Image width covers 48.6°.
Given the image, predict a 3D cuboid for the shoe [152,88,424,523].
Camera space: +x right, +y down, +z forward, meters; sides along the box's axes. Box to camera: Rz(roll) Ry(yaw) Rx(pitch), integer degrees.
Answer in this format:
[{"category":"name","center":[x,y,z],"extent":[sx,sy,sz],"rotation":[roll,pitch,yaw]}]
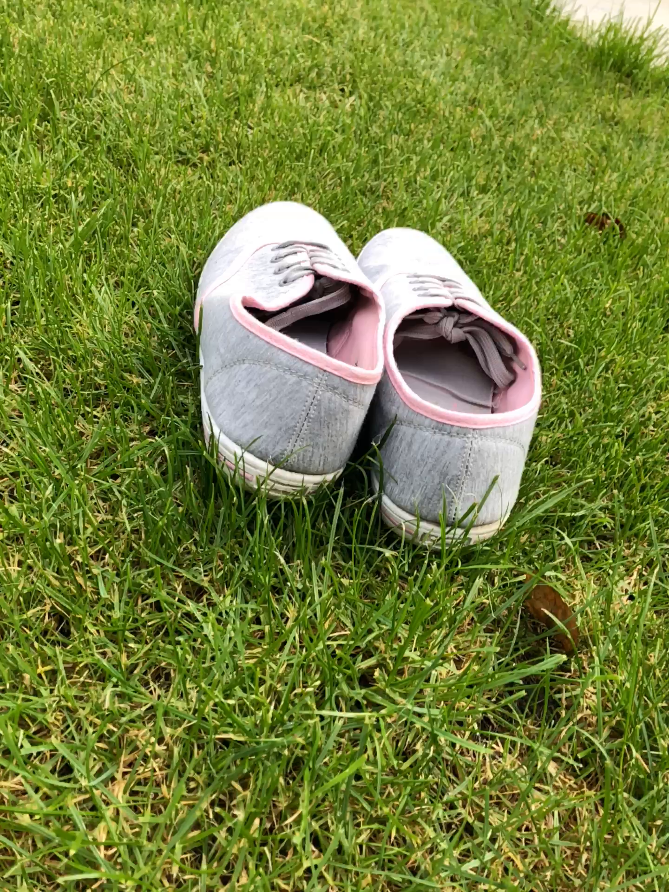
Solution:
[{"category":"shoe","center":[-0.027,-0.093,0.405],"extent":[0.100,0.089,0.262],"rotation":[8,43,-10]}]

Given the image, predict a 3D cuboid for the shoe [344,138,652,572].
[{"category":"shoe","center":[0.069,-0.067,0.419],"extent":[0.100,0.089,0.262],"rotation":[8,43,-10]}]
